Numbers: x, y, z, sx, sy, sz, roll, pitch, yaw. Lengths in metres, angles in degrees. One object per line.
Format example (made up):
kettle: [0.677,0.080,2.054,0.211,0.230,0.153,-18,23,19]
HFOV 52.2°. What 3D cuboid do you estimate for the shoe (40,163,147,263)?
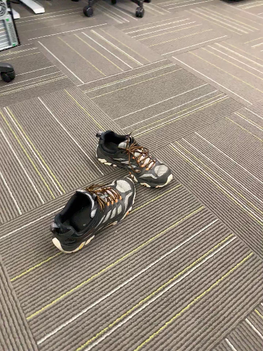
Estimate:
shoe: [-0.101,0.101,0.805,0.110,0.100,0.301,38,57,27]

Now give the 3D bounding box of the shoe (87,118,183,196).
shoe: [0.005,-0.069,0.905,0.301,0.100,0.110,29,53,21]
